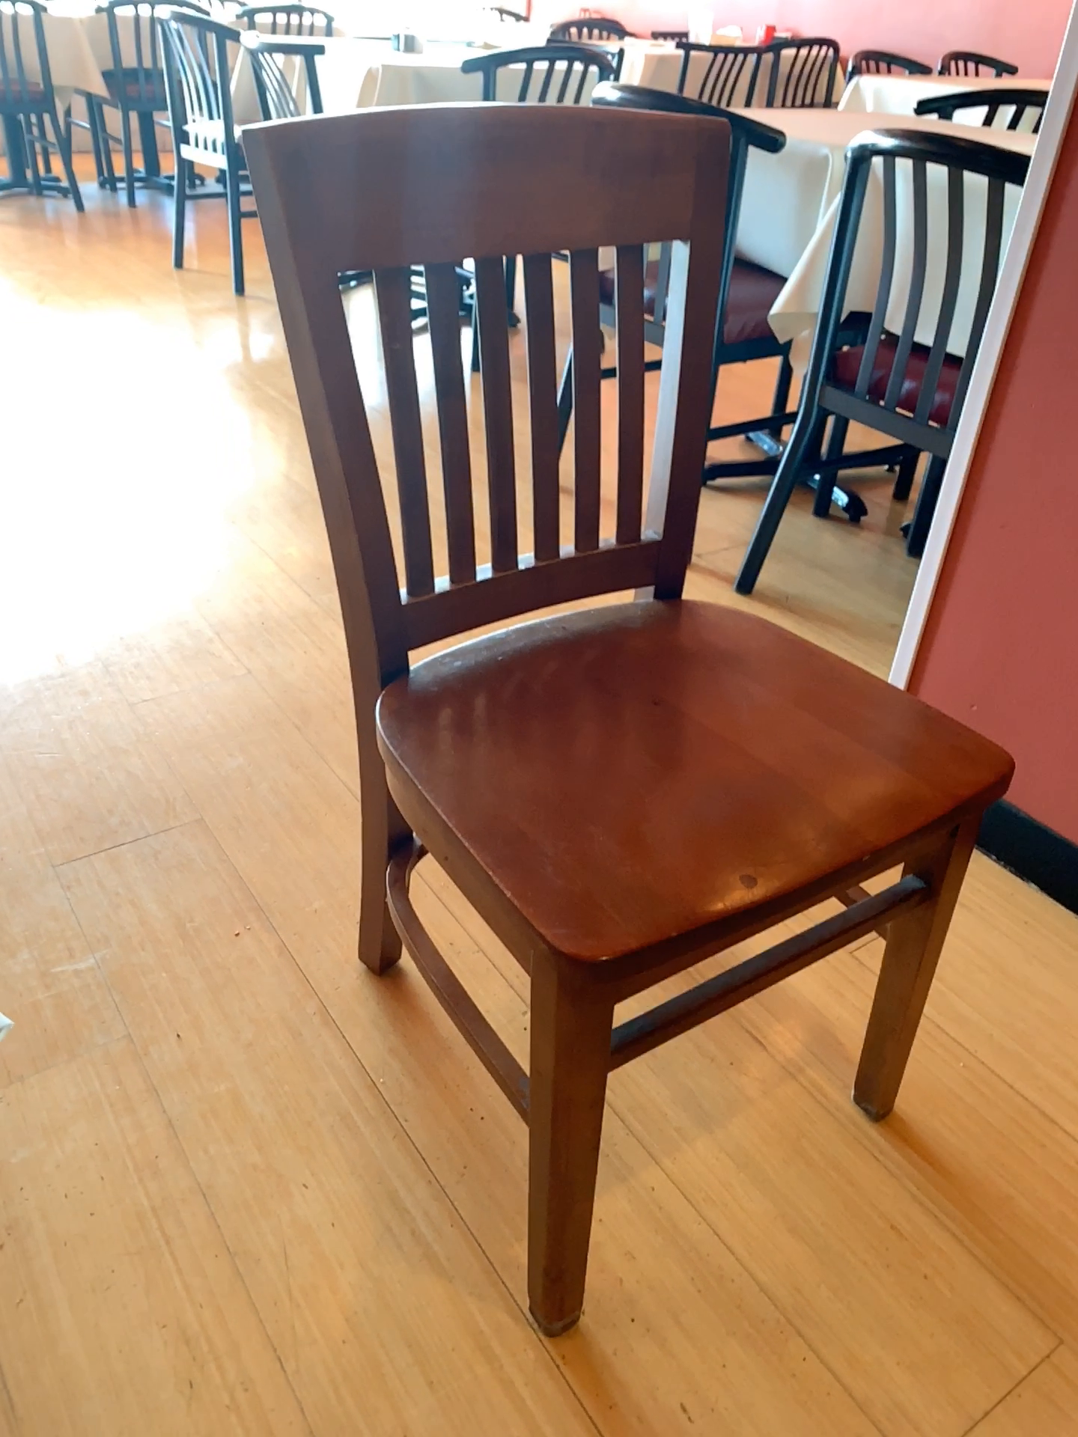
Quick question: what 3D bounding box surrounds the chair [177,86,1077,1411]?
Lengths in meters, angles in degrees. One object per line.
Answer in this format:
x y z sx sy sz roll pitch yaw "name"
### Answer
0.096 -0.027 0.969 0.541 0.875 0.573 -17 38 -29 "chair"
